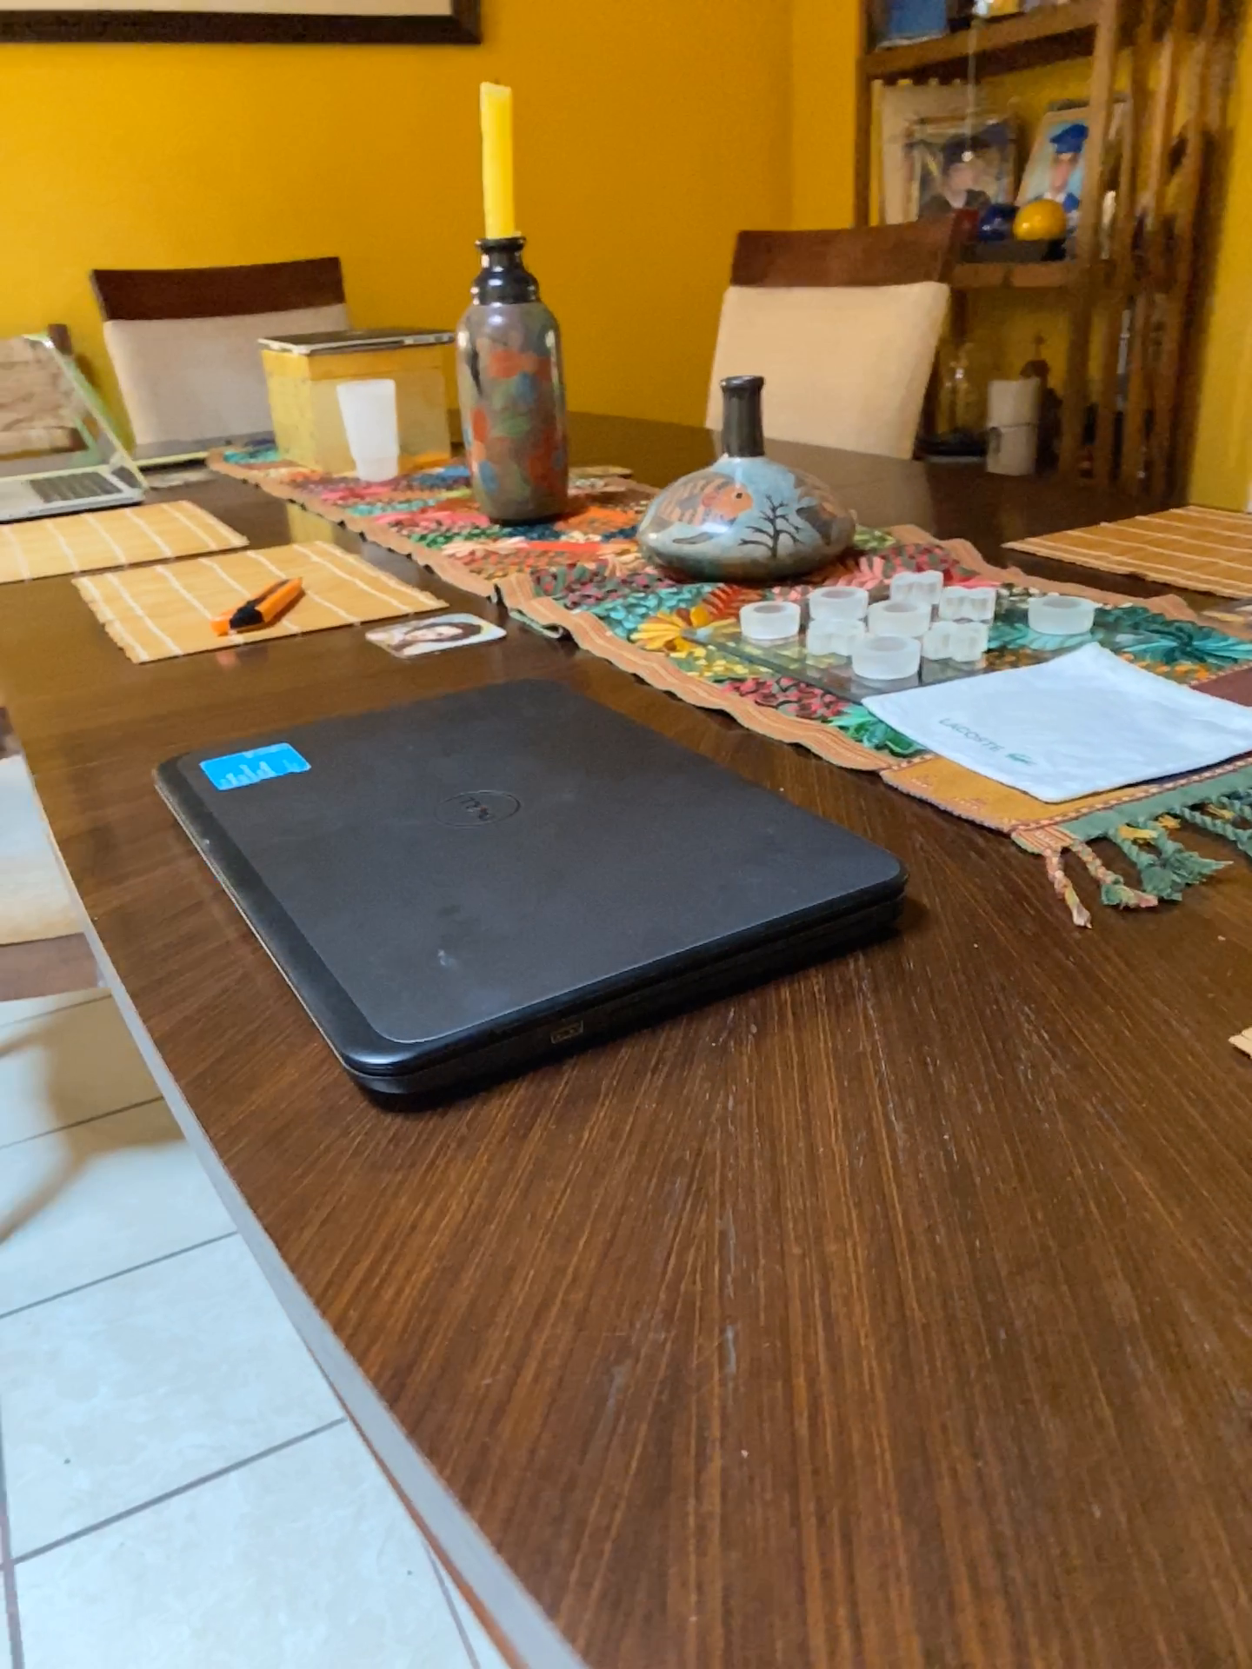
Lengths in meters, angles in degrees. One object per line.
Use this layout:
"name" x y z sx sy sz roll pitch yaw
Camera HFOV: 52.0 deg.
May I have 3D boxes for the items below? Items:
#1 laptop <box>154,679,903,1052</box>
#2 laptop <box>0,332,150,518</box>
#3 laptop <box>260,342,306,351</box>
"laptop" -0.075 -0.012 0.650 0.248 0.001 0.353 -16 27 -26
"laptop" -0.815 -0.573 1.766 0.216 0.194 0.319 -16 26 -23
"laptop" -0.495 -0.702 1.844 0.002 0.003 0.280 -41 33 -8
